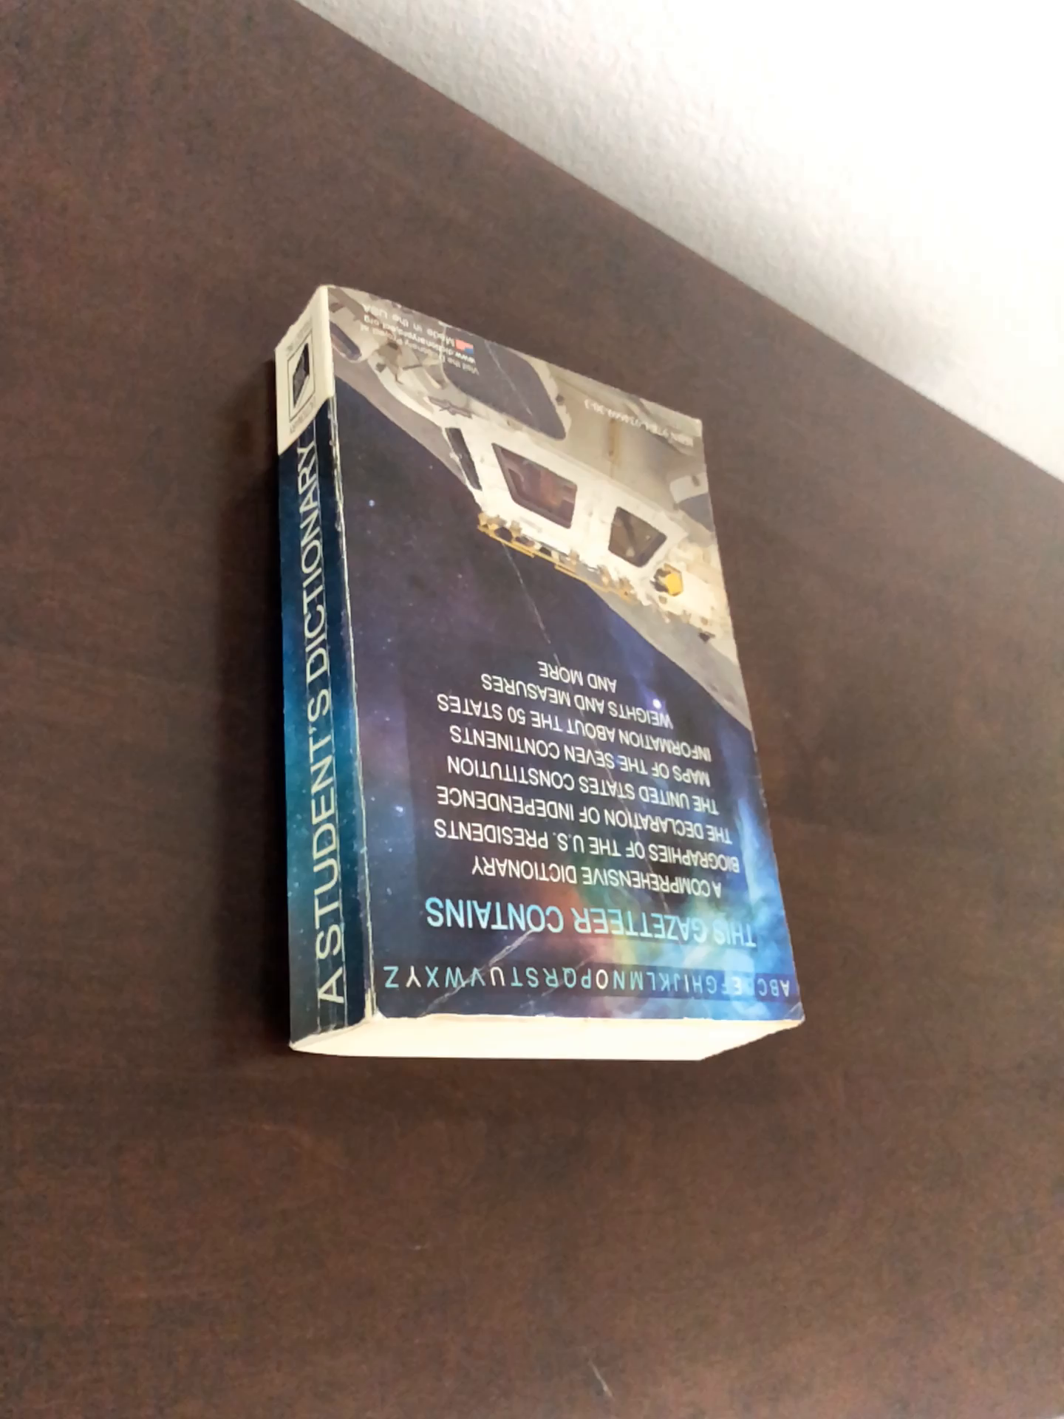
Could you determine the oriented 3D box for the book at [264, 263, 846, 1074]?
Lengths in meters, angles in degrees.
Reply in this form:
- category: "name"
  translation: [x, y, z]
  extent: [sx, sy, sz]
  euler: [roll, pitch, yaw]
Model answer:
- category: "book"
  translation: [0.003, -0.007, 0.319]
  extent: [0.141, 0.040, 0.196]
  euler: [11, 62, -32]
